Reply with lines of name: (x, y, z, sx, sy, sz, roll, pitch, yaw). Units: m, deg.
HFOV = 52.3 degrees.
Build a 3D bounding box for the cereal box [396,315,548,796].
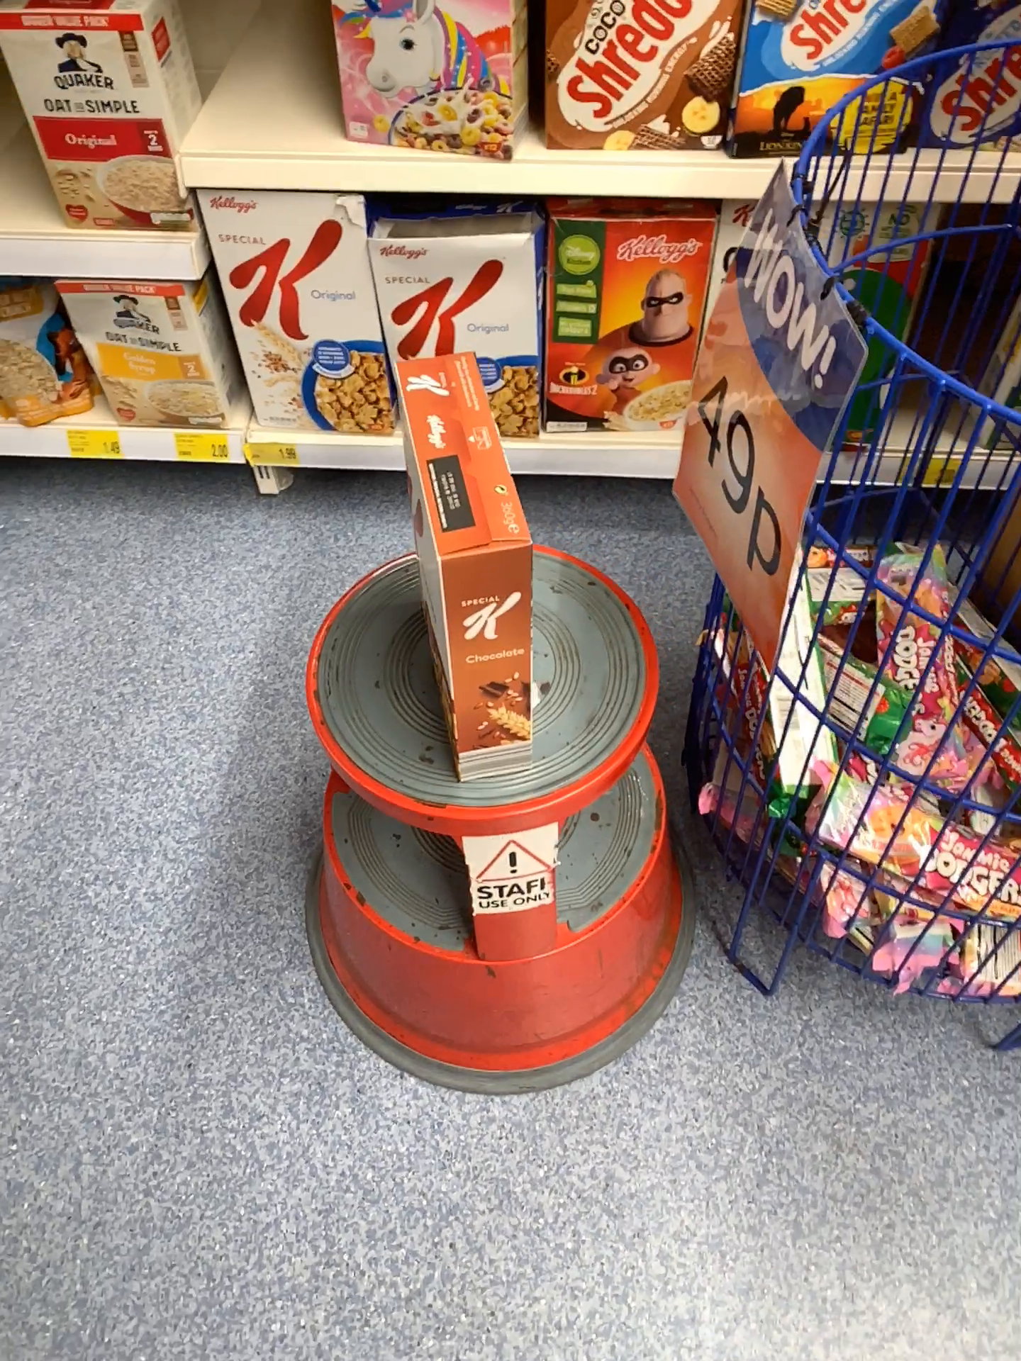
cereal box: (-0.027, -0.081, 0.748, 0.060, 0.268, 0.212, -9, 52, -6)
